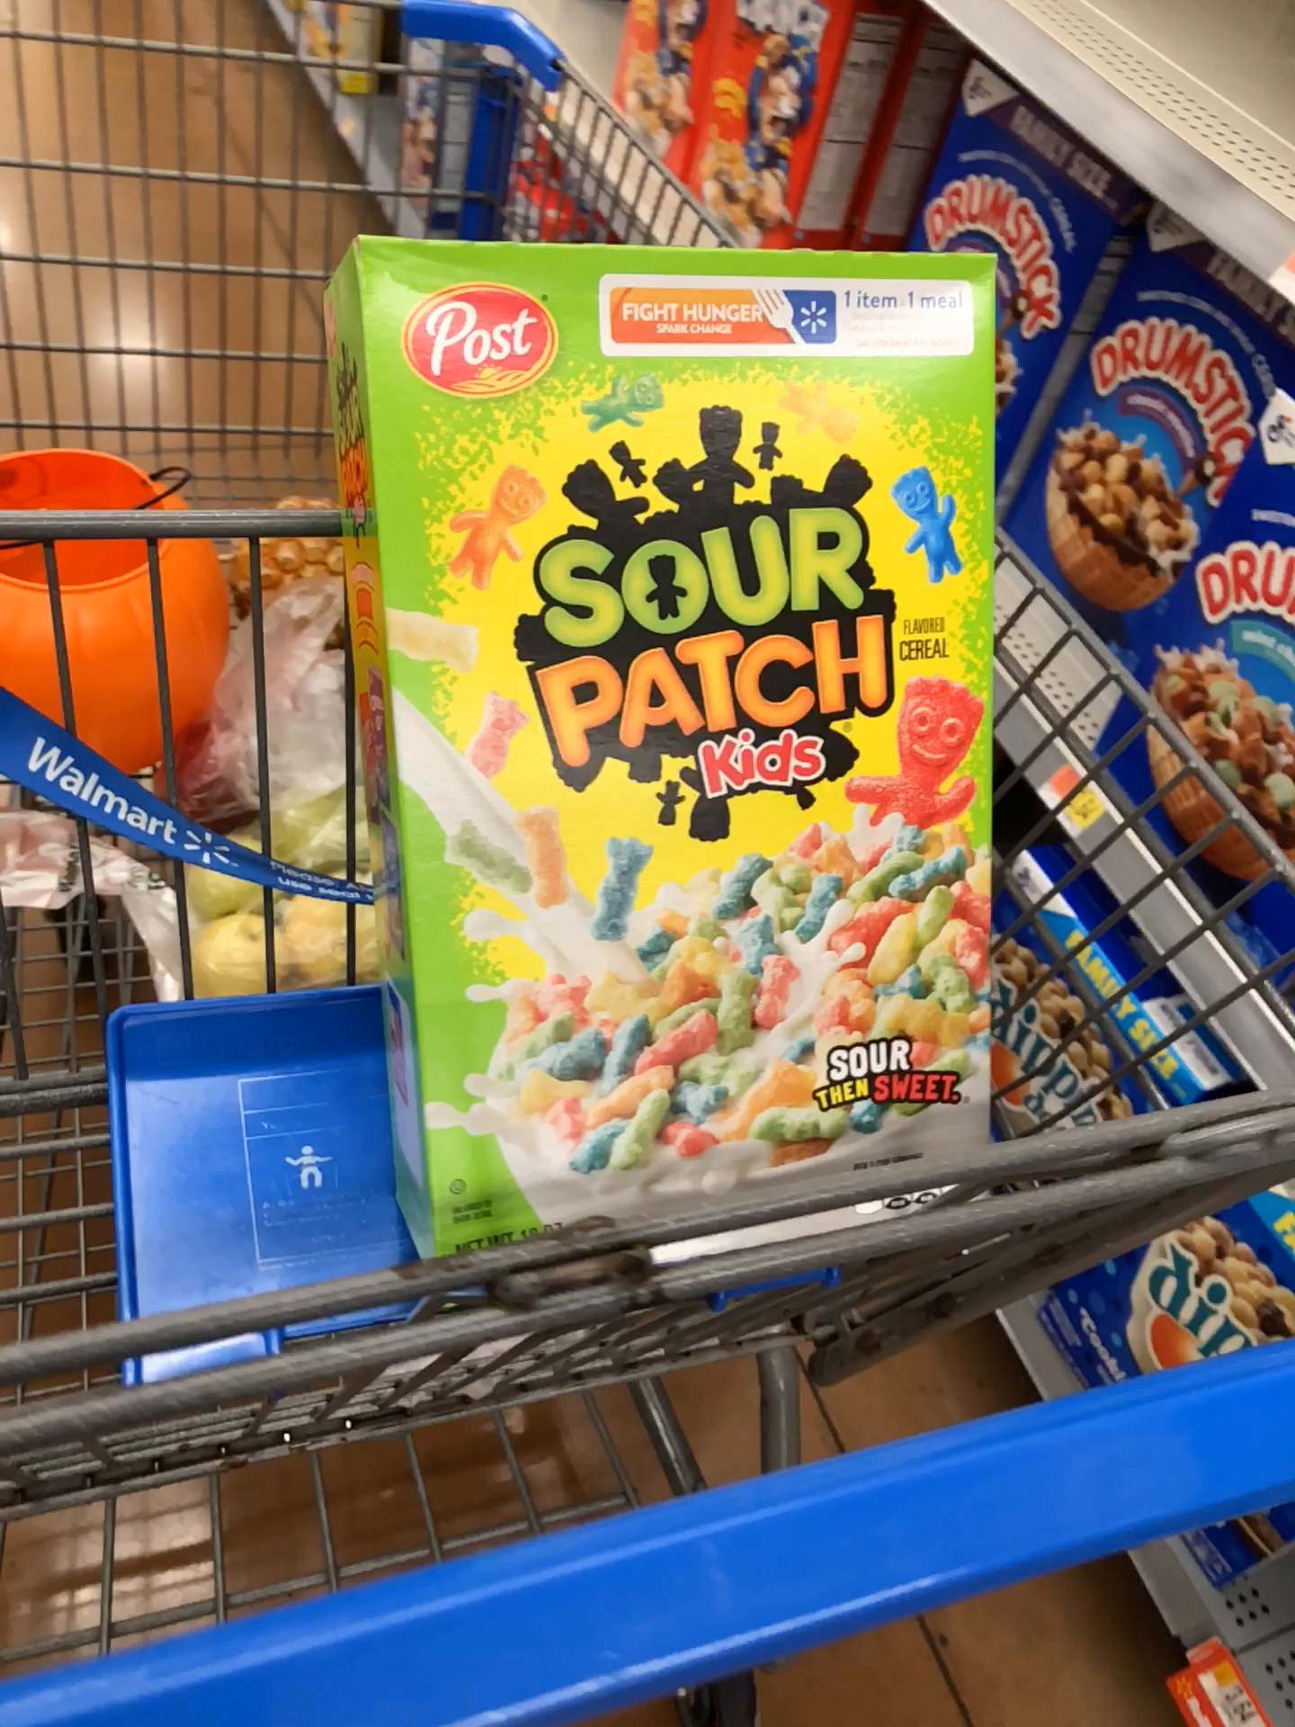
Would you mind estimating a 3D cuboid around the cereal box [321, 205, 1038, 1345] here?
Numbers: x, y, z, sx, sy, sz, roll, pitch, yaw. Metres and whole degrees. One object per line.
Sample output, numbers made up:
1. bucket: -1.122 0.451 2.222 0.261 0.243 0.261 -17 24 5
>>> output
1. cereal box: 0.013 -0.029 0.465 0.200 0.320 0.080 -6 13 -18
